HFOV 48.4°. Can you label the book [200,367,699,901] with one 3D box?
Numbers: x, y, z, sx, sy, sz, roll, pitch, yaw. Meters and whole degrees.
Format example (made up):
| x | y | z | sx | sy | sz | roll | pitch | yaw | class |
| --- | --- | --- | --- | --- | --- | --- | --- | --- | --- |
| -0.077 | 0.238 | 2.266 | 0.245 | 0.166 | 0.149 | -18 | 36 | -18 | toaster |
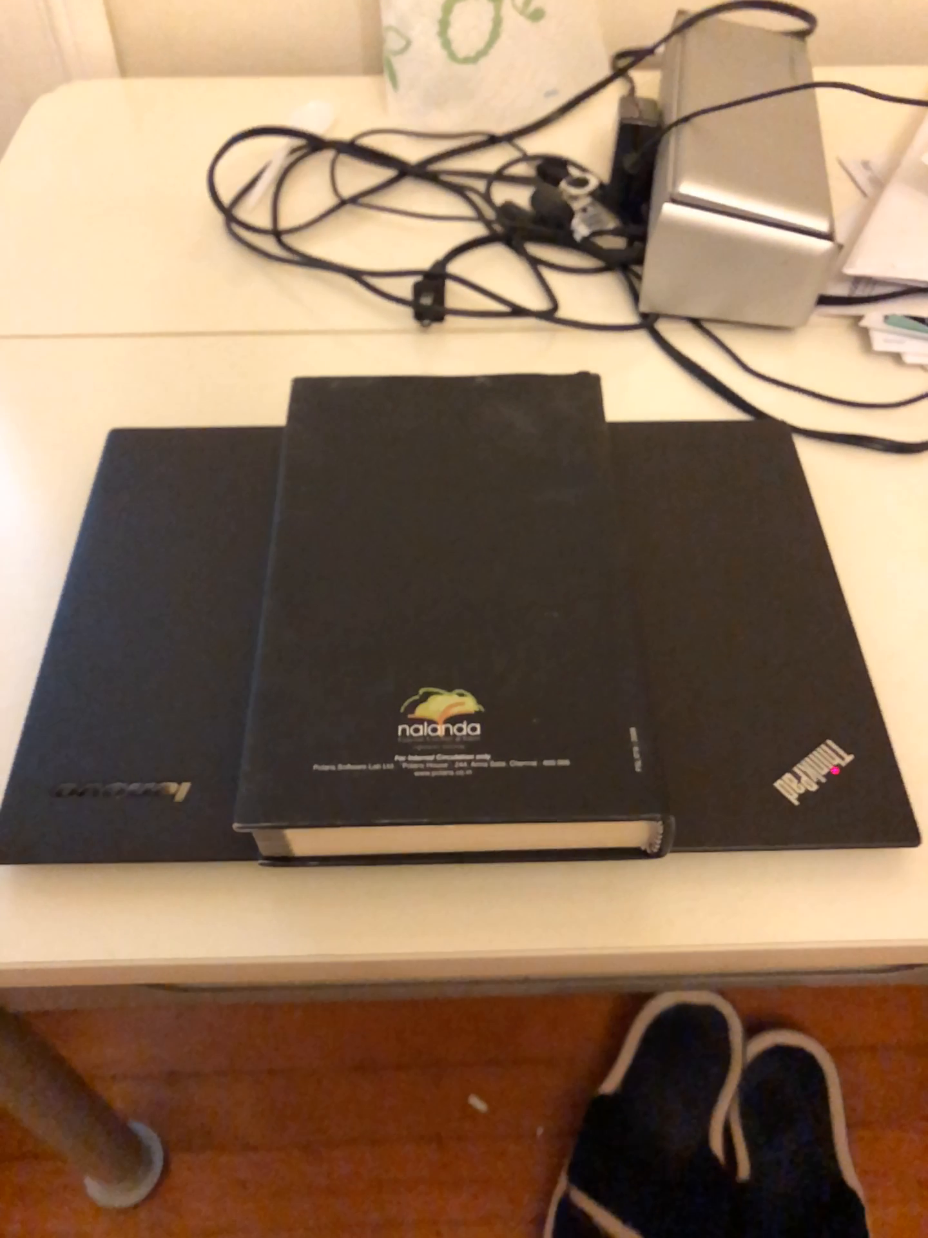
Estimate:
| x | y | z | sx | sy | sz | roll | pitch | yaw | class |
| --- | --- | --- | --- | --- | --- | --- | --- | --- | --- |
| -0.007 | -0.010 | 0.400 | 0.150 | 0.040 | 0.231 | -1 | 50 | -1 | book |
